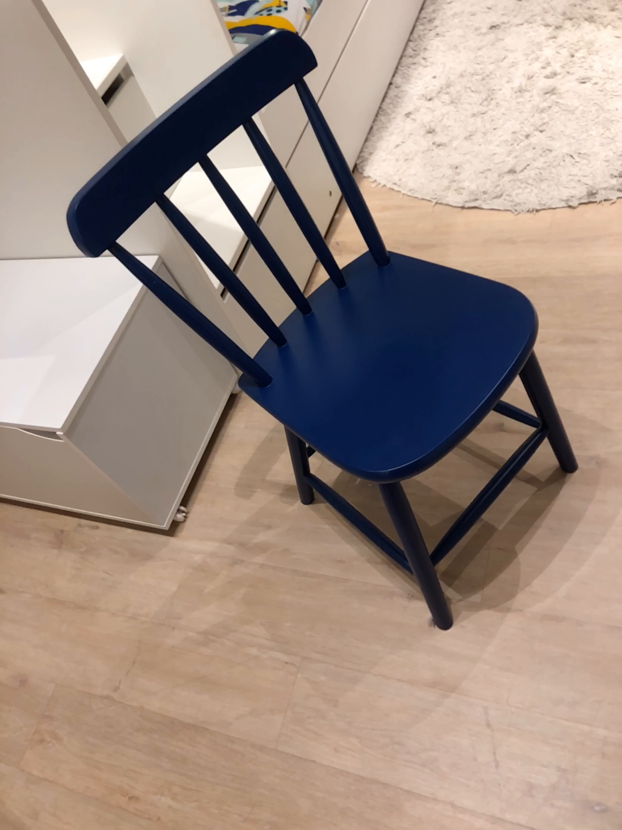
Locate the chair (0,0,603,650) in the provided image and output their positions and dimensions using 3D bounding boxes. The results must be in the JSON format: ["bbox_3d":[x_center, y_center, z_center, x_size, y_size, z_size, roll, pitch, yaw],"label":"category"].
[{"bbox_3d":[0.068,-0.119,0.991,0.461,0.805,0.483,-45,51,-13],"label":"chair"}]
